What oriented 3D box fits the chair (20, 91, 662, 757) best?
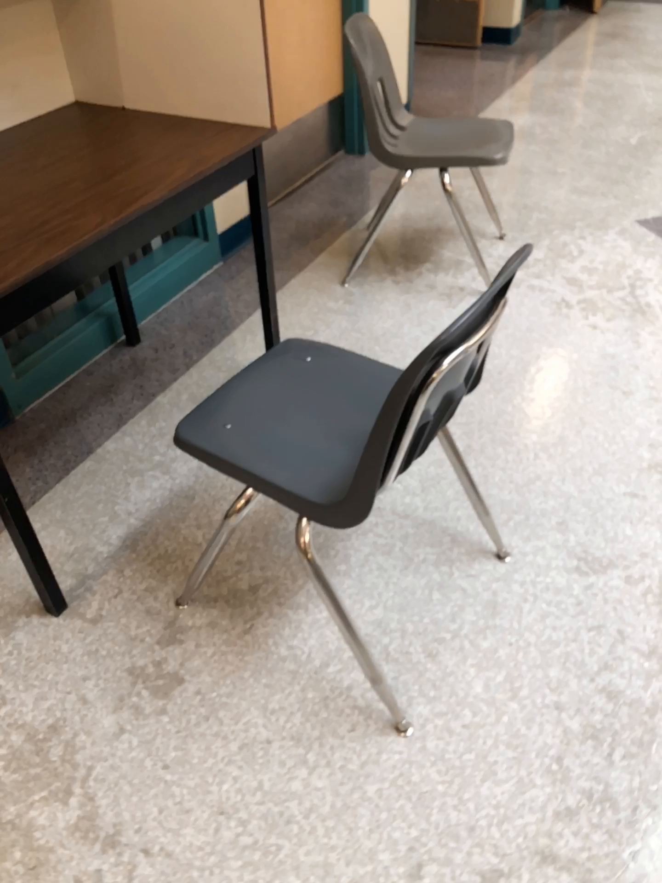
[{"bbox_3d":[0.052,-0.072,1.156,0.612,0.695,0.593,21,45,25],"label":"chair"}]
